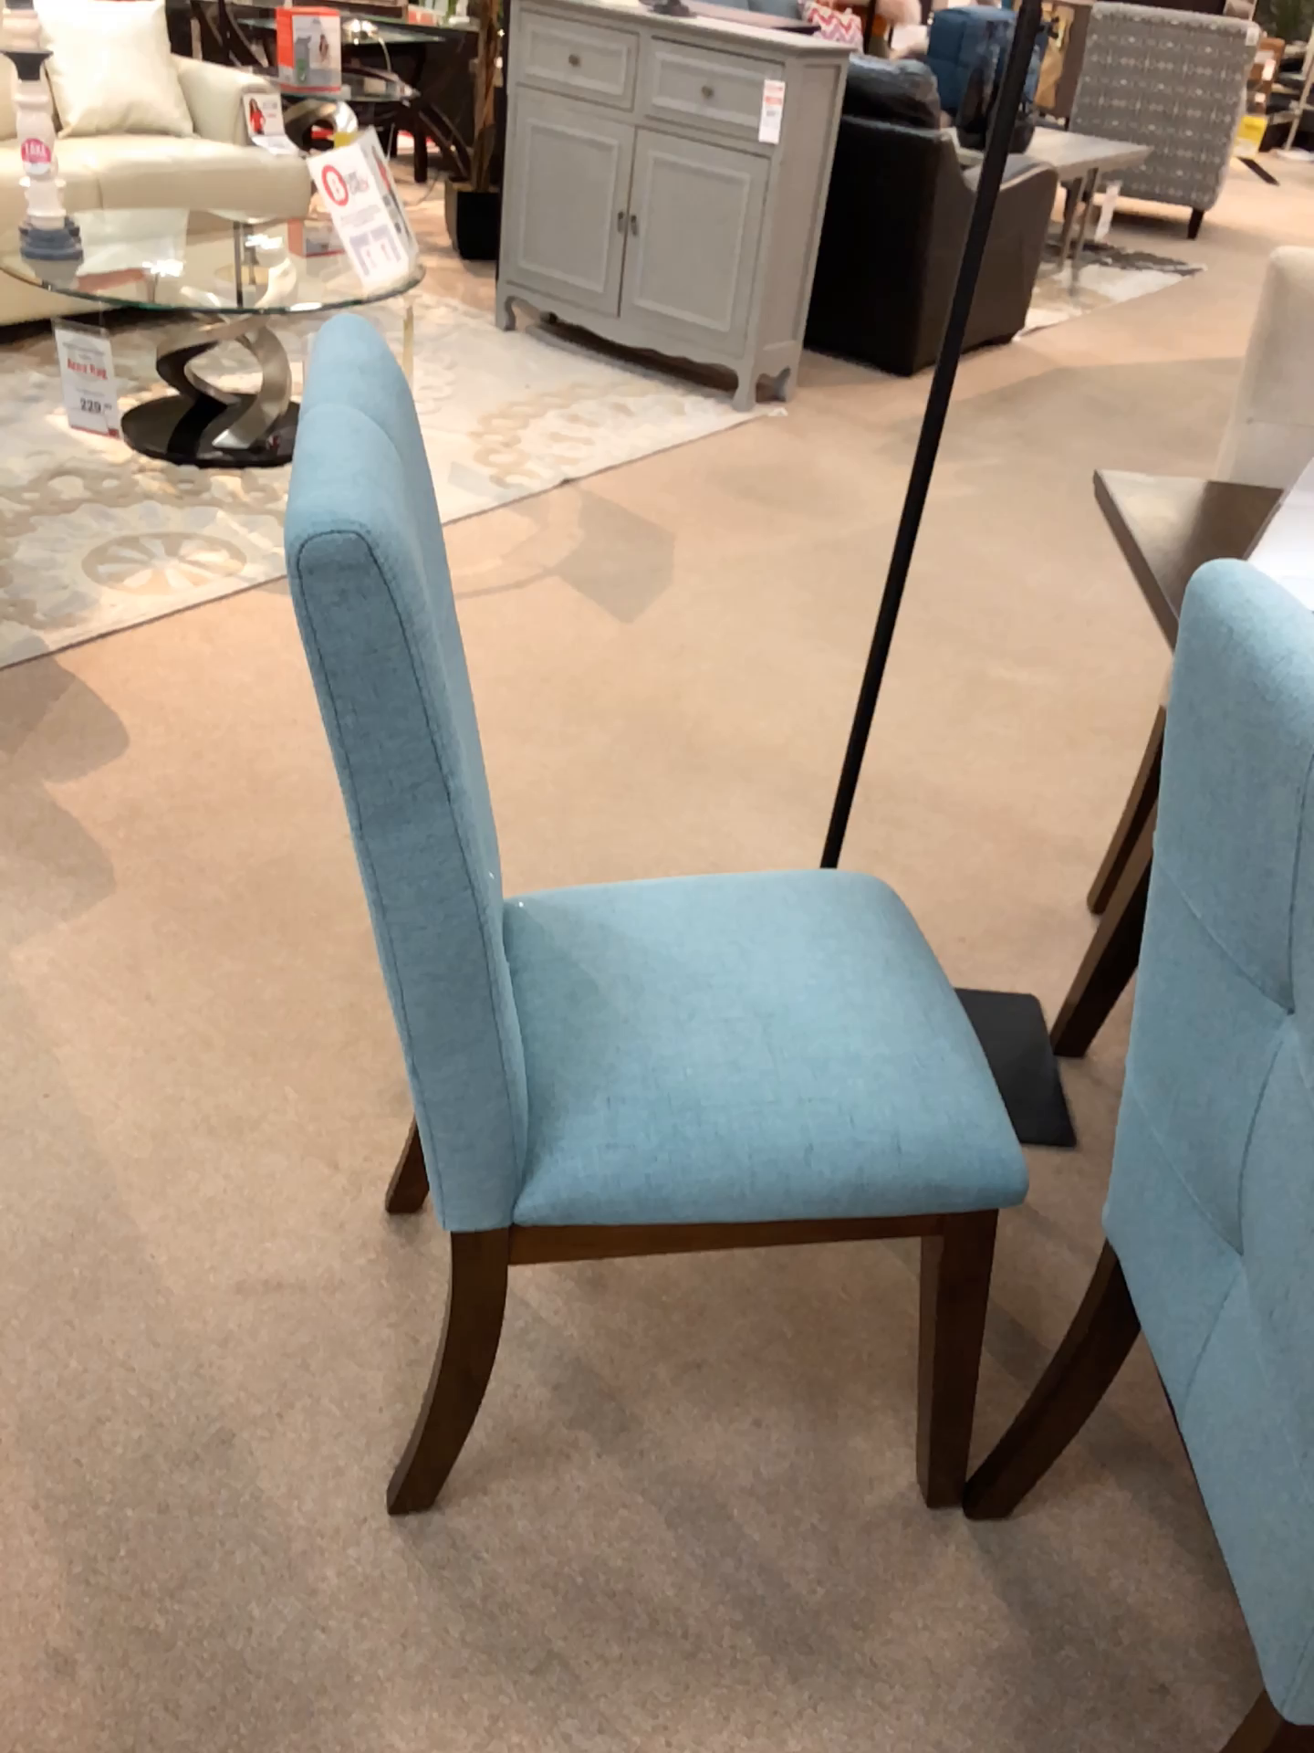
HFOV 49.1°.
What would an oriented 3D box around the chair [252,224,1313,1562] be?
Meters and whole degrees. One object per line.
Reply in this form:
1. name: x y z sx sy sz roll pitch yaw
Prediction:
1. chair: 0.042 0.034 1.255 0.620 0.993 0.544 -2 35 -8
